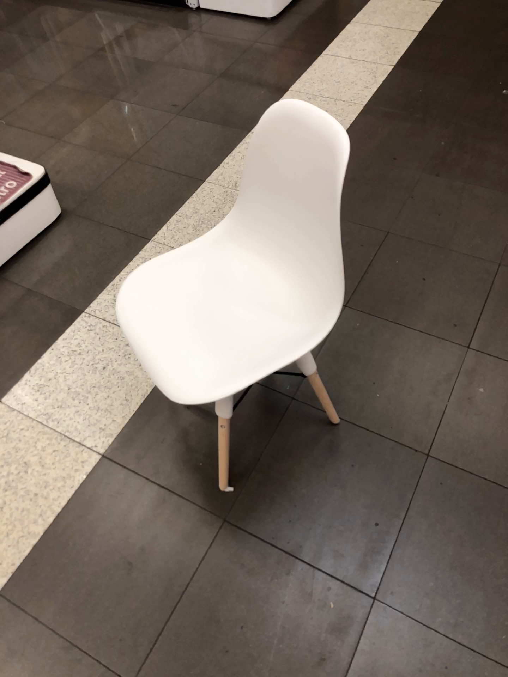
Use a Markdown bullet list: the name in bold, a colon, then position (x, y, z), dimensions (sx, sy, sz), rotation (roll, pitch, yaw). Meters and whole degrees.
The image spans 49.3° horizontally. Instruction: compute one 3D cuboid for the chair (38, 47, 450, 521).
- **chair**: position (-0.022, -0.087, 1.262), dimensions (0.541, 0.795, 0.523), rotation (-24, 52, -14)
